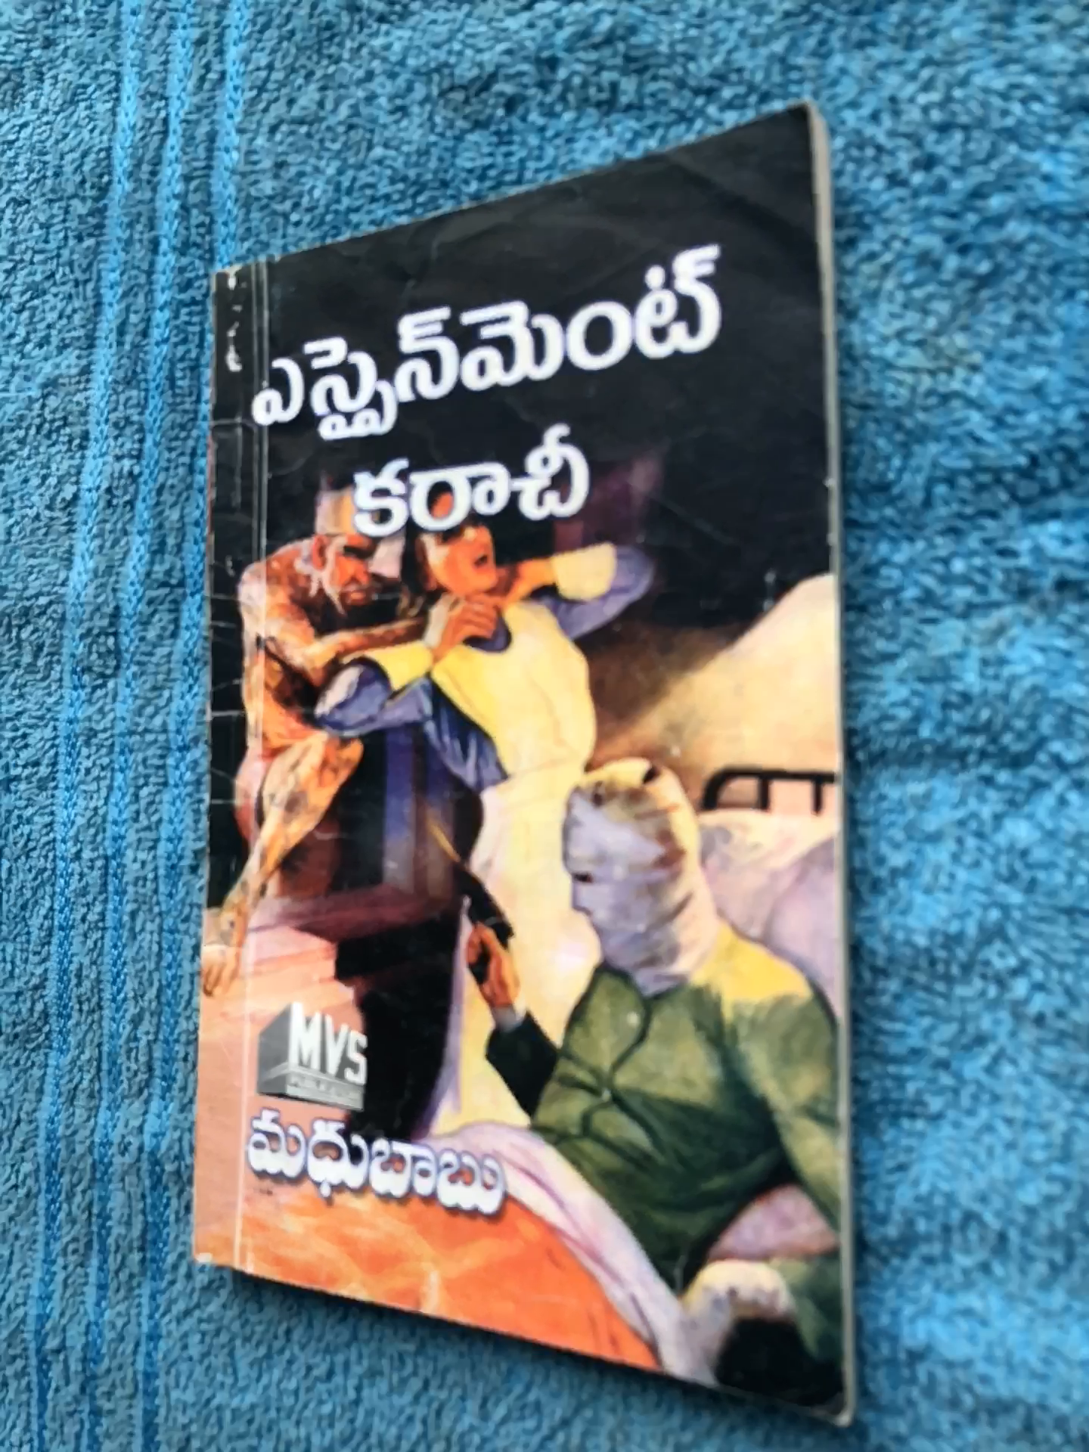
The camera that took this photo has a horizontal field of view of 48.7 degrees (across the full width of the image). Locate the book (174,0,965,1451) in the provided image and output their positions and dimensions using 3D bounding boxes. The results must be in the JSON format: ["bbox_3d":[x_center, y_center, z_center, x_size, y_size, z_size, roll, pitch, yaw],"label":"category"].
[{"bbox_3d":[-0.002,0.001,0.169,0.110,0.020,0.170,-2,86,27],"label":"book"}]
